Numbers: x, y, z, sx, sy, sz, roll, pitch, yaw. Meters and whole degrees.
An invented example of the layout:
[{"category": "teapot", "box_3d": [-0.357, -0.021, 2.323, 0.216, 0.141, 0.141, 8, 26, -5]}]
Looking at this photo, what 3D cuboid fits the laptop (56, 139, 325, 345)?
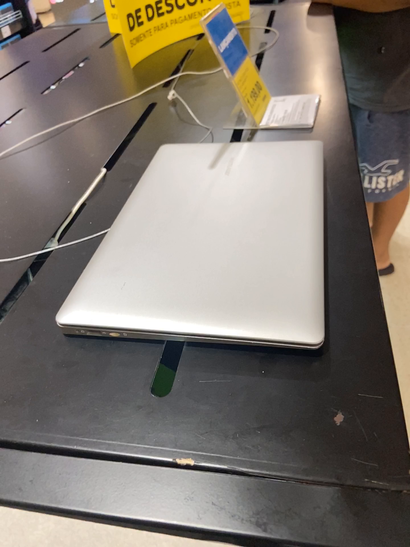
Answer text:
[{"category": "laptop", "box_3d": [0.013, -0.063, 0.427, 0.205, 0.003, 0.316, 3, 42, 12]}]
